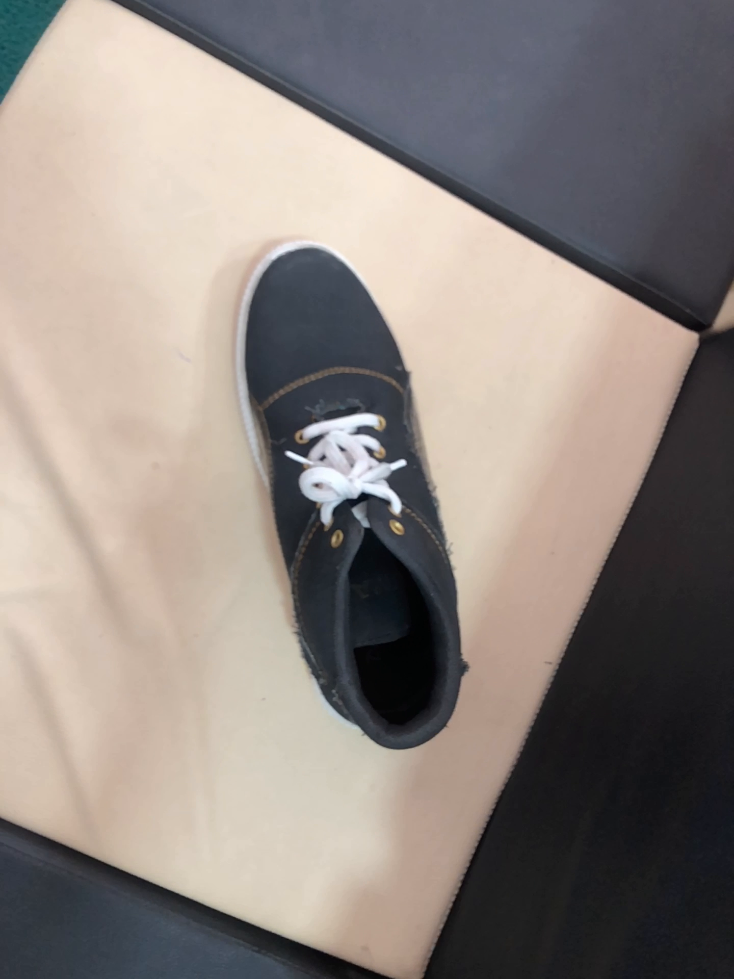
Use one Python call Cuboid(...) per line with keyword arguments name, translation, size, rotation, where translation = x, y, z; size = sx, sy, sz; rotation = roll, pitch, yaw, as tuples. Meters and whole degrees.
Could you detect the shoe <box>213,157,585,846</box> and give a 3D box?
Cuboid(name="shoe", translation=(0.007, 0.004, 0.429), size=(0.100, 0.110, 0.300), rotation=(-14, 89, -11))
